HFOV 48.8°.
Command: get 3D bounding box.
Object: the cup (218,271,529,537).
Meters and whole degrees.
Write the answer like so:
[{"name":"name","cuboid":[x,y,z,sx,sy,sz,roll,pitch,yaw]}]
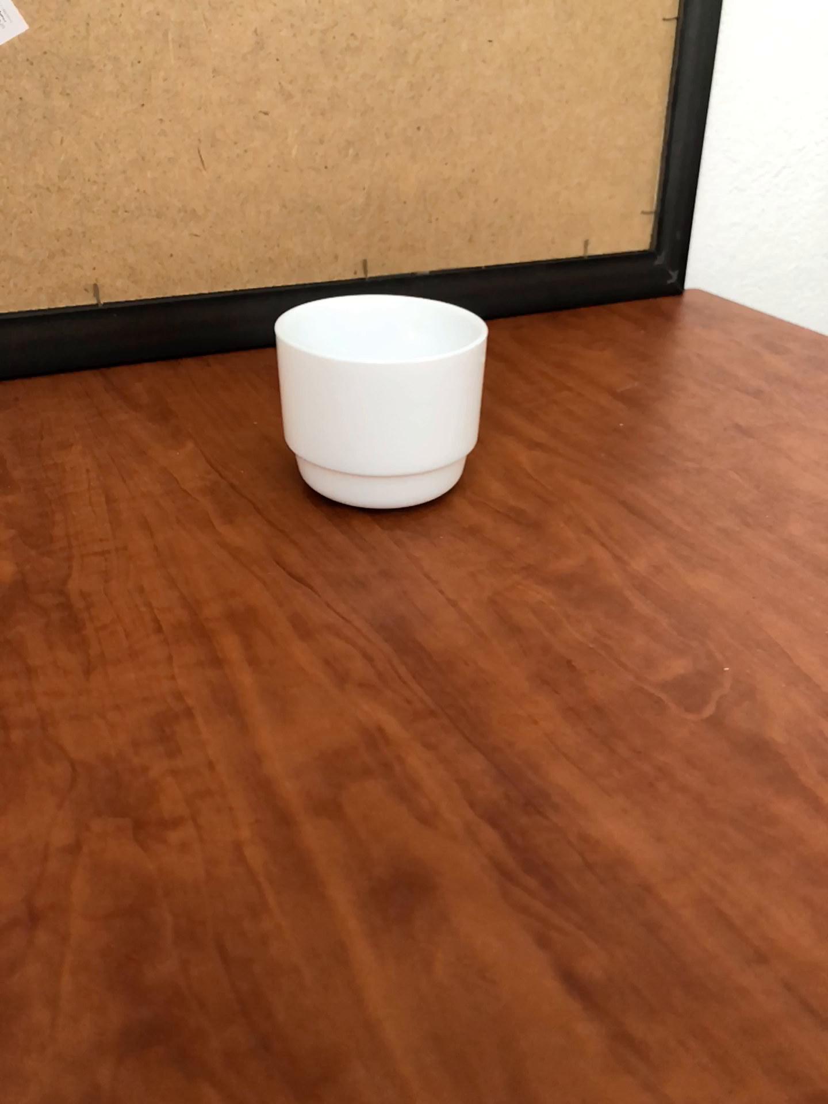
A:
[{"name":"cup","cuboid":[-0.010,-0.068,0.380,0.086,0.060,0.120,11,32,16]}]
